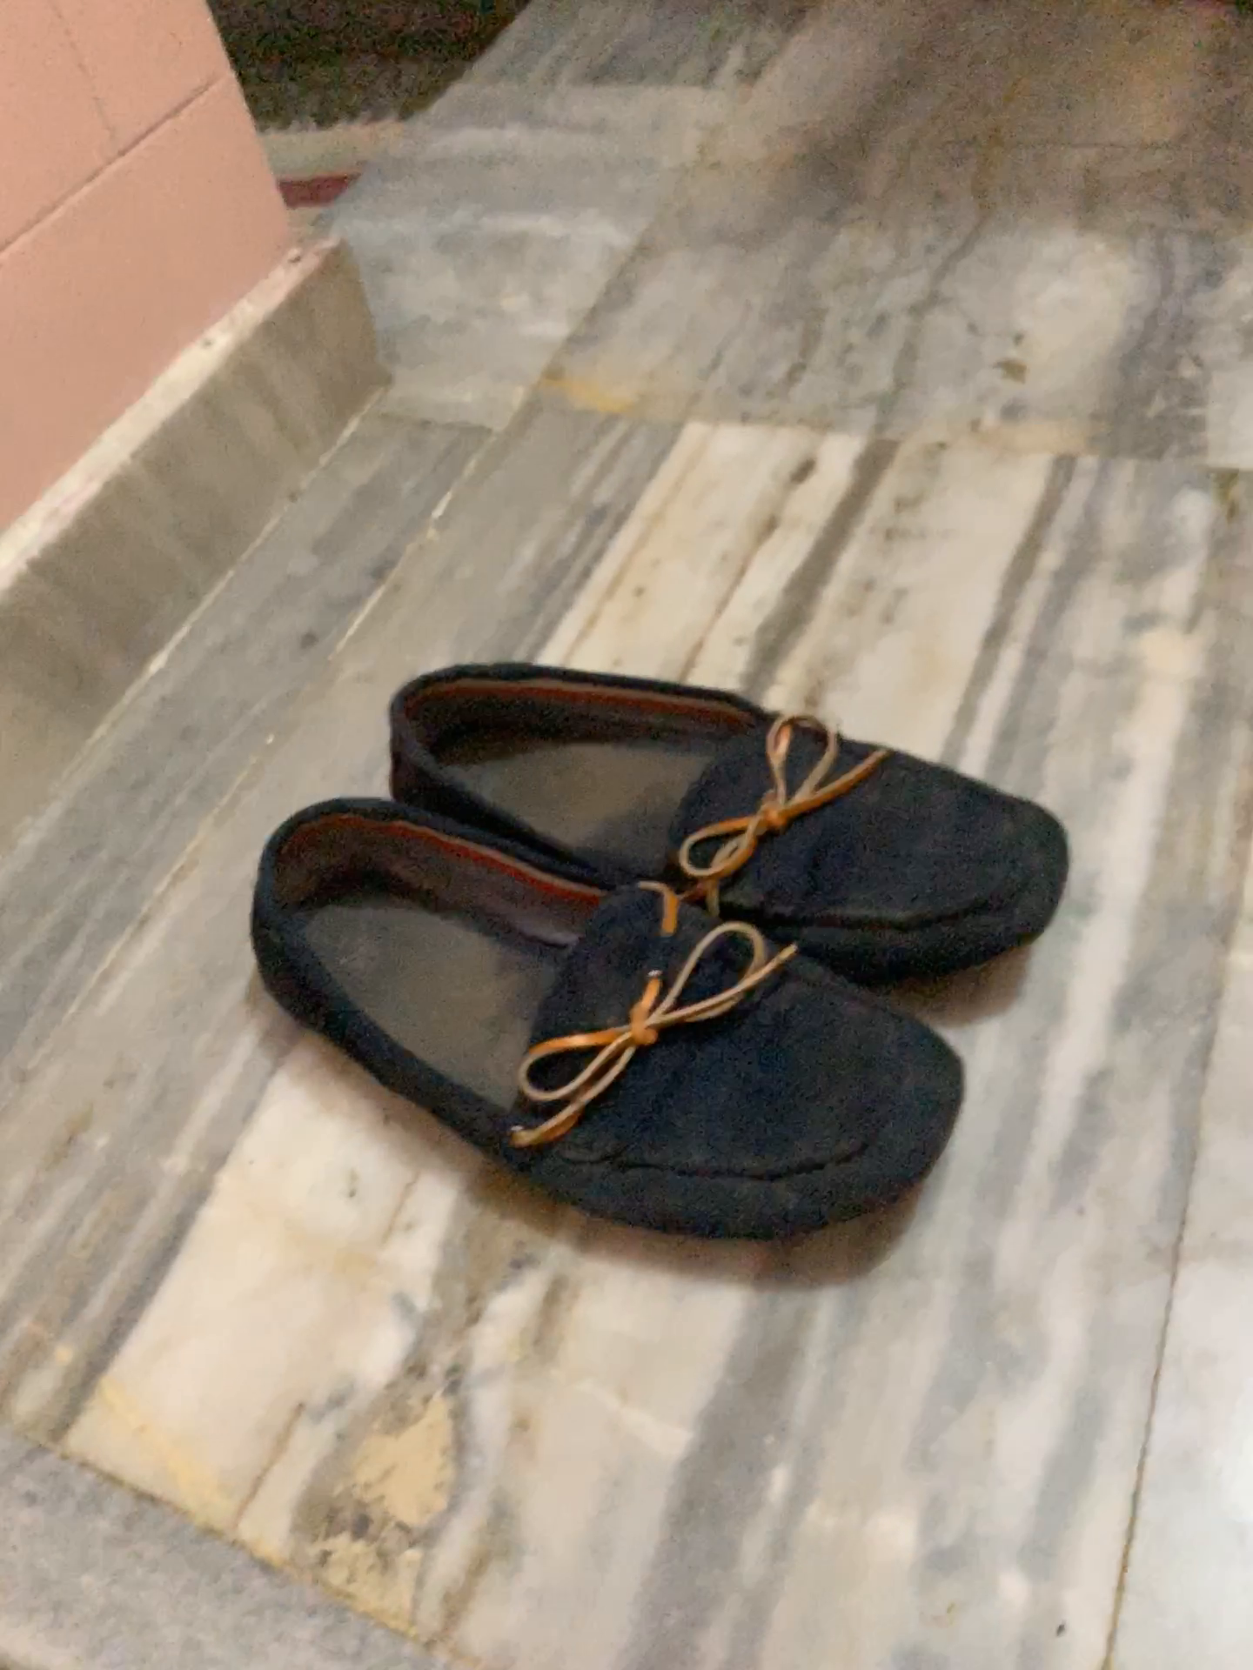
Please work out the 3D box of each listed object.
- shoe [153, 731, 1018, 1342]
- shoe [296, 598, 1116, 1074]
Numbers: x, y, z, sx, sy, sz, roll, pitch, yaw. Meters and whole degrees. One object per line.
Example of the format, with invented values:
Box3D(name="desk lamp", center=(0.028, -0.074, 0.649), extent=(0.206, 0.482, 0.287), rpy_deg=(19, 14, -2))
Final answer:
Box3D(name="shoe", center=(-0.018, 0.058, 0.472), extent=(0.281, 0.070, 0.120), rpy_deg=(16, 56, 25))
Box3D(name="shoe", center=(0.029, -0.011, 0.535), extent=(0.301, 0.070, 0.120), rpy_deg=(13, 55, 23))
